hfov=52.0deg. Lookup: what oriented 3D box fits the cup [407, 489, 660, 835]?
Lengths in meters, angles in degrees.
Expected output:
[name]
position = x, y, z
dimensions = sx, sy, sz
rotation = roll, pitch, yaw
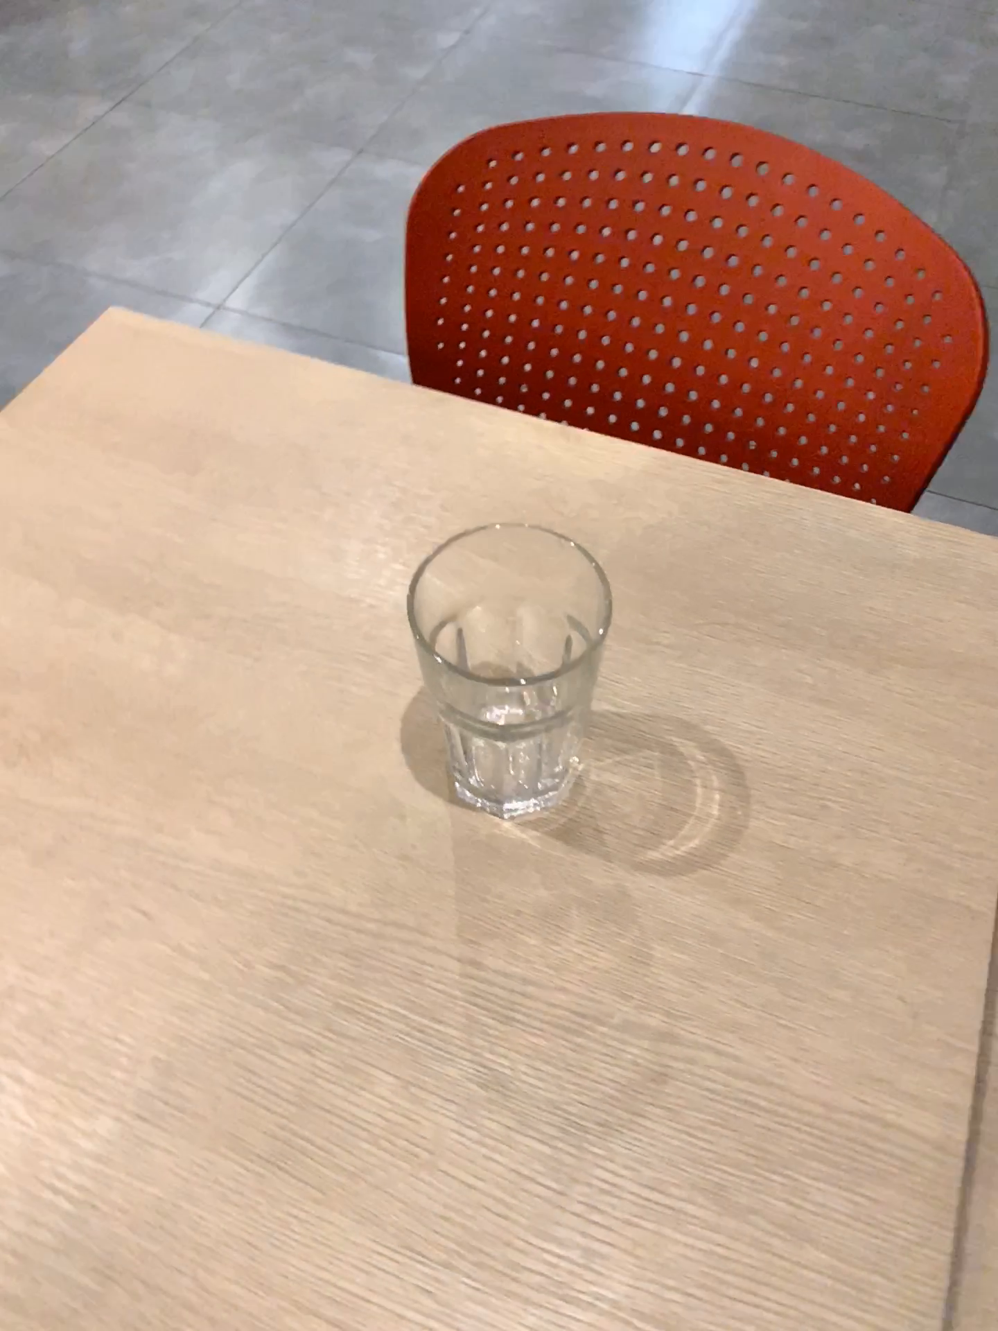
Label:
[cup]
position = 0.010, 0.002, 0.431
dimensions = 0.080, 0.120, 0.080
rotation = 0, 54, 0
